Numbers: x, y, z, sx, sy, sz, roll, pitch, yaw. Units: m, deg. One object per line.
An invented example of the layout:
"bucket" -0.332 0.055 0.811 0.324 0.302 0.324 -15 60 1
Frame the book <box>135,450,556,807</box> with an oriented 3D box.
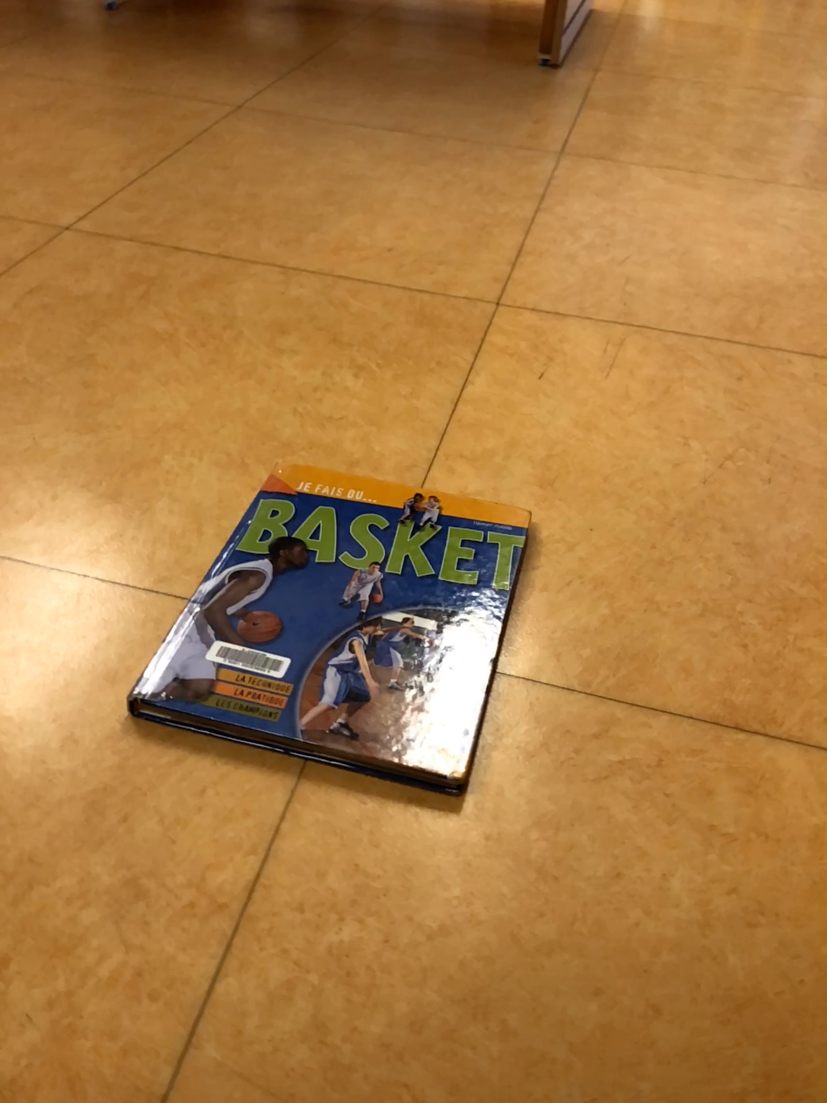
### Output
"book" -0.026 0.031 0.604 0.210 0.020 0.258 12 42 8
